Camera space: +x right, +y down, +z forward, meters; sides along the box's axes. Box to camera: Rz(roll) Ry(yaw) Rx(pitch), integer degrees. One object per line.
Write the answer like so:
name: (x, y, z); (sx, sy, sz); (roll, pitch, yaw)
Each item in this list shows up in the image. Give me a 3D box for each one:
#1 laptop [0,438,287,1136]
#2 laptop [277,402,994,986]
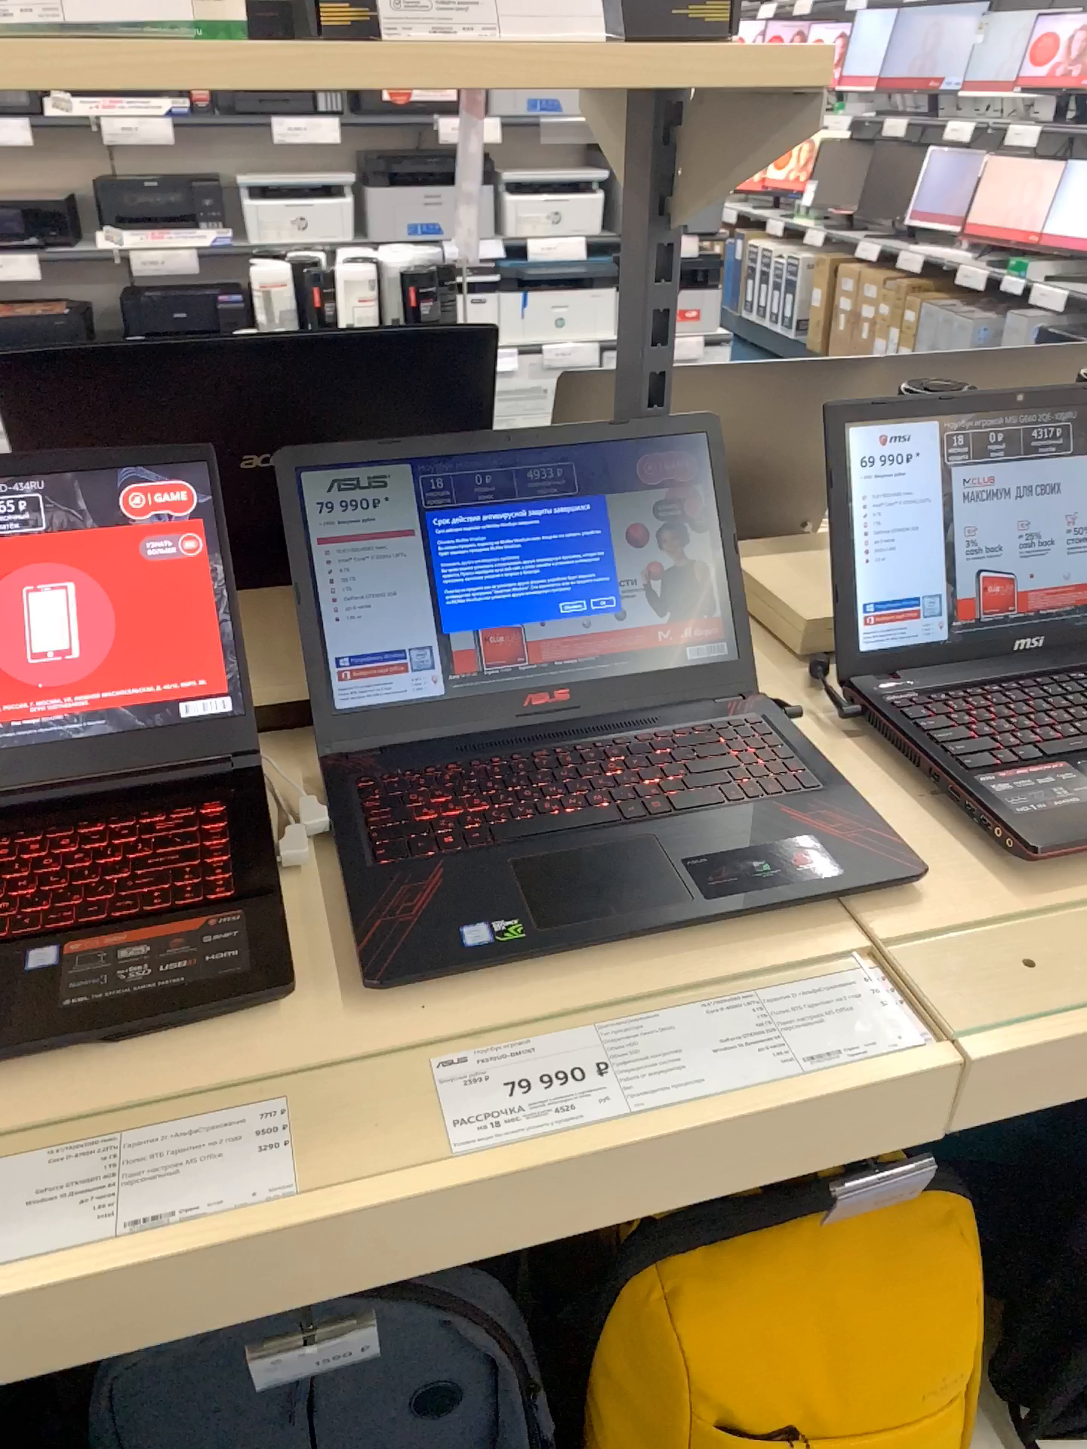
laptop: (-0.352, -0.007, 0.678); (0.338, 0.209, 0.354); (-8, 32, -15)
laptop: (0.023, -0.061, 0.785); (0.365, 0.199, 0.384); (-9, 32, -13)
